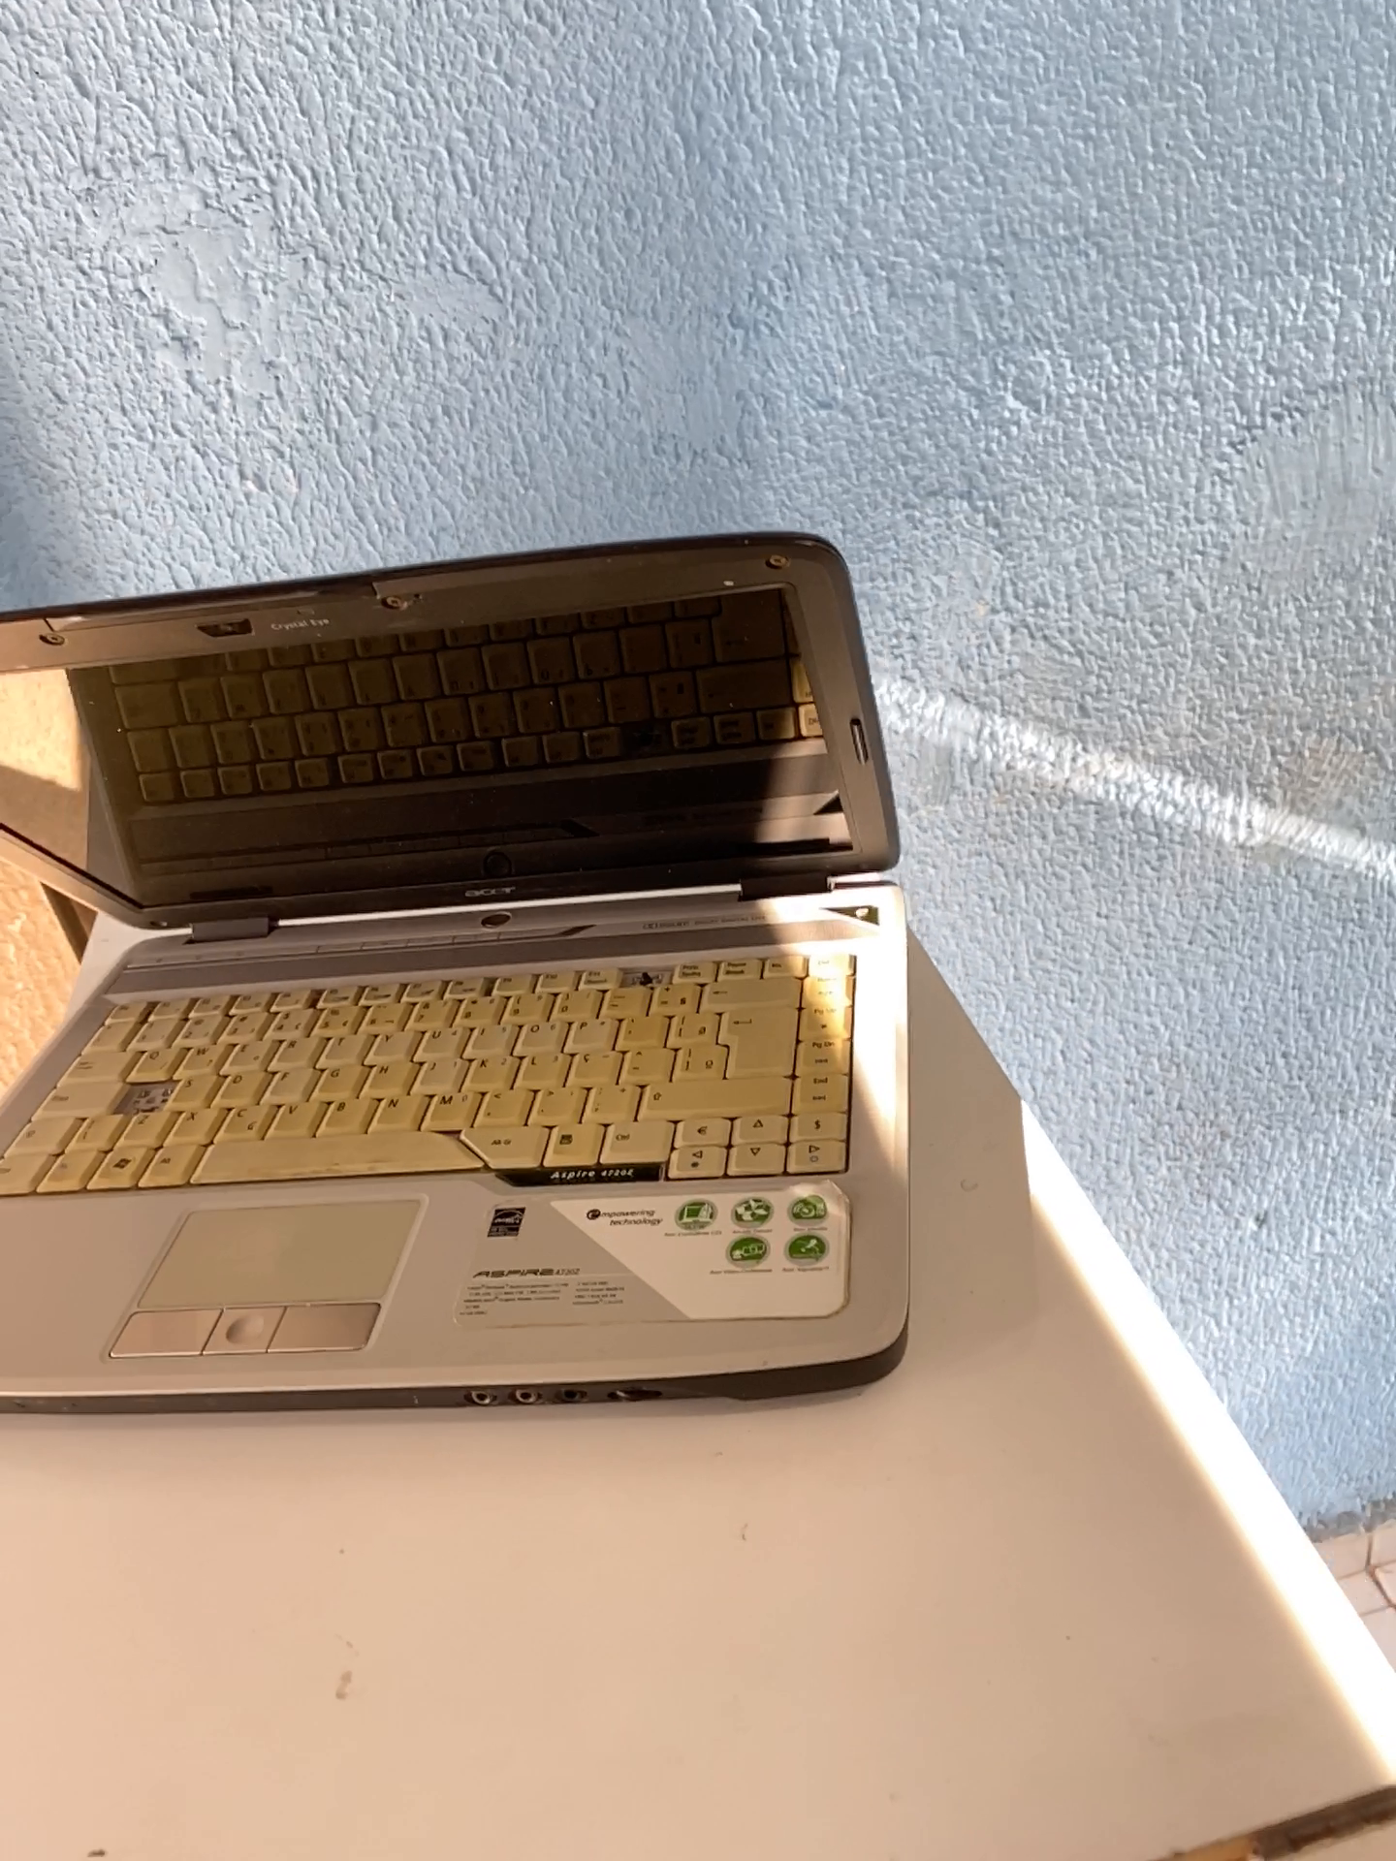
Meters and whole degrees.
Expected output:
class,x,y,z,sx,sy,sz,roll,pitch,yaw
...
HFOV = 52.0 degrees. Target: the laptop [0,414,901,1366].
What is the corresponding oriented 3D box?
class,x,y,z,sx,sy,sz,roll,pitch,yaw
laptop,-0.110,-0.018,0.454,0.328,0.179,0.226,-4,33,11
